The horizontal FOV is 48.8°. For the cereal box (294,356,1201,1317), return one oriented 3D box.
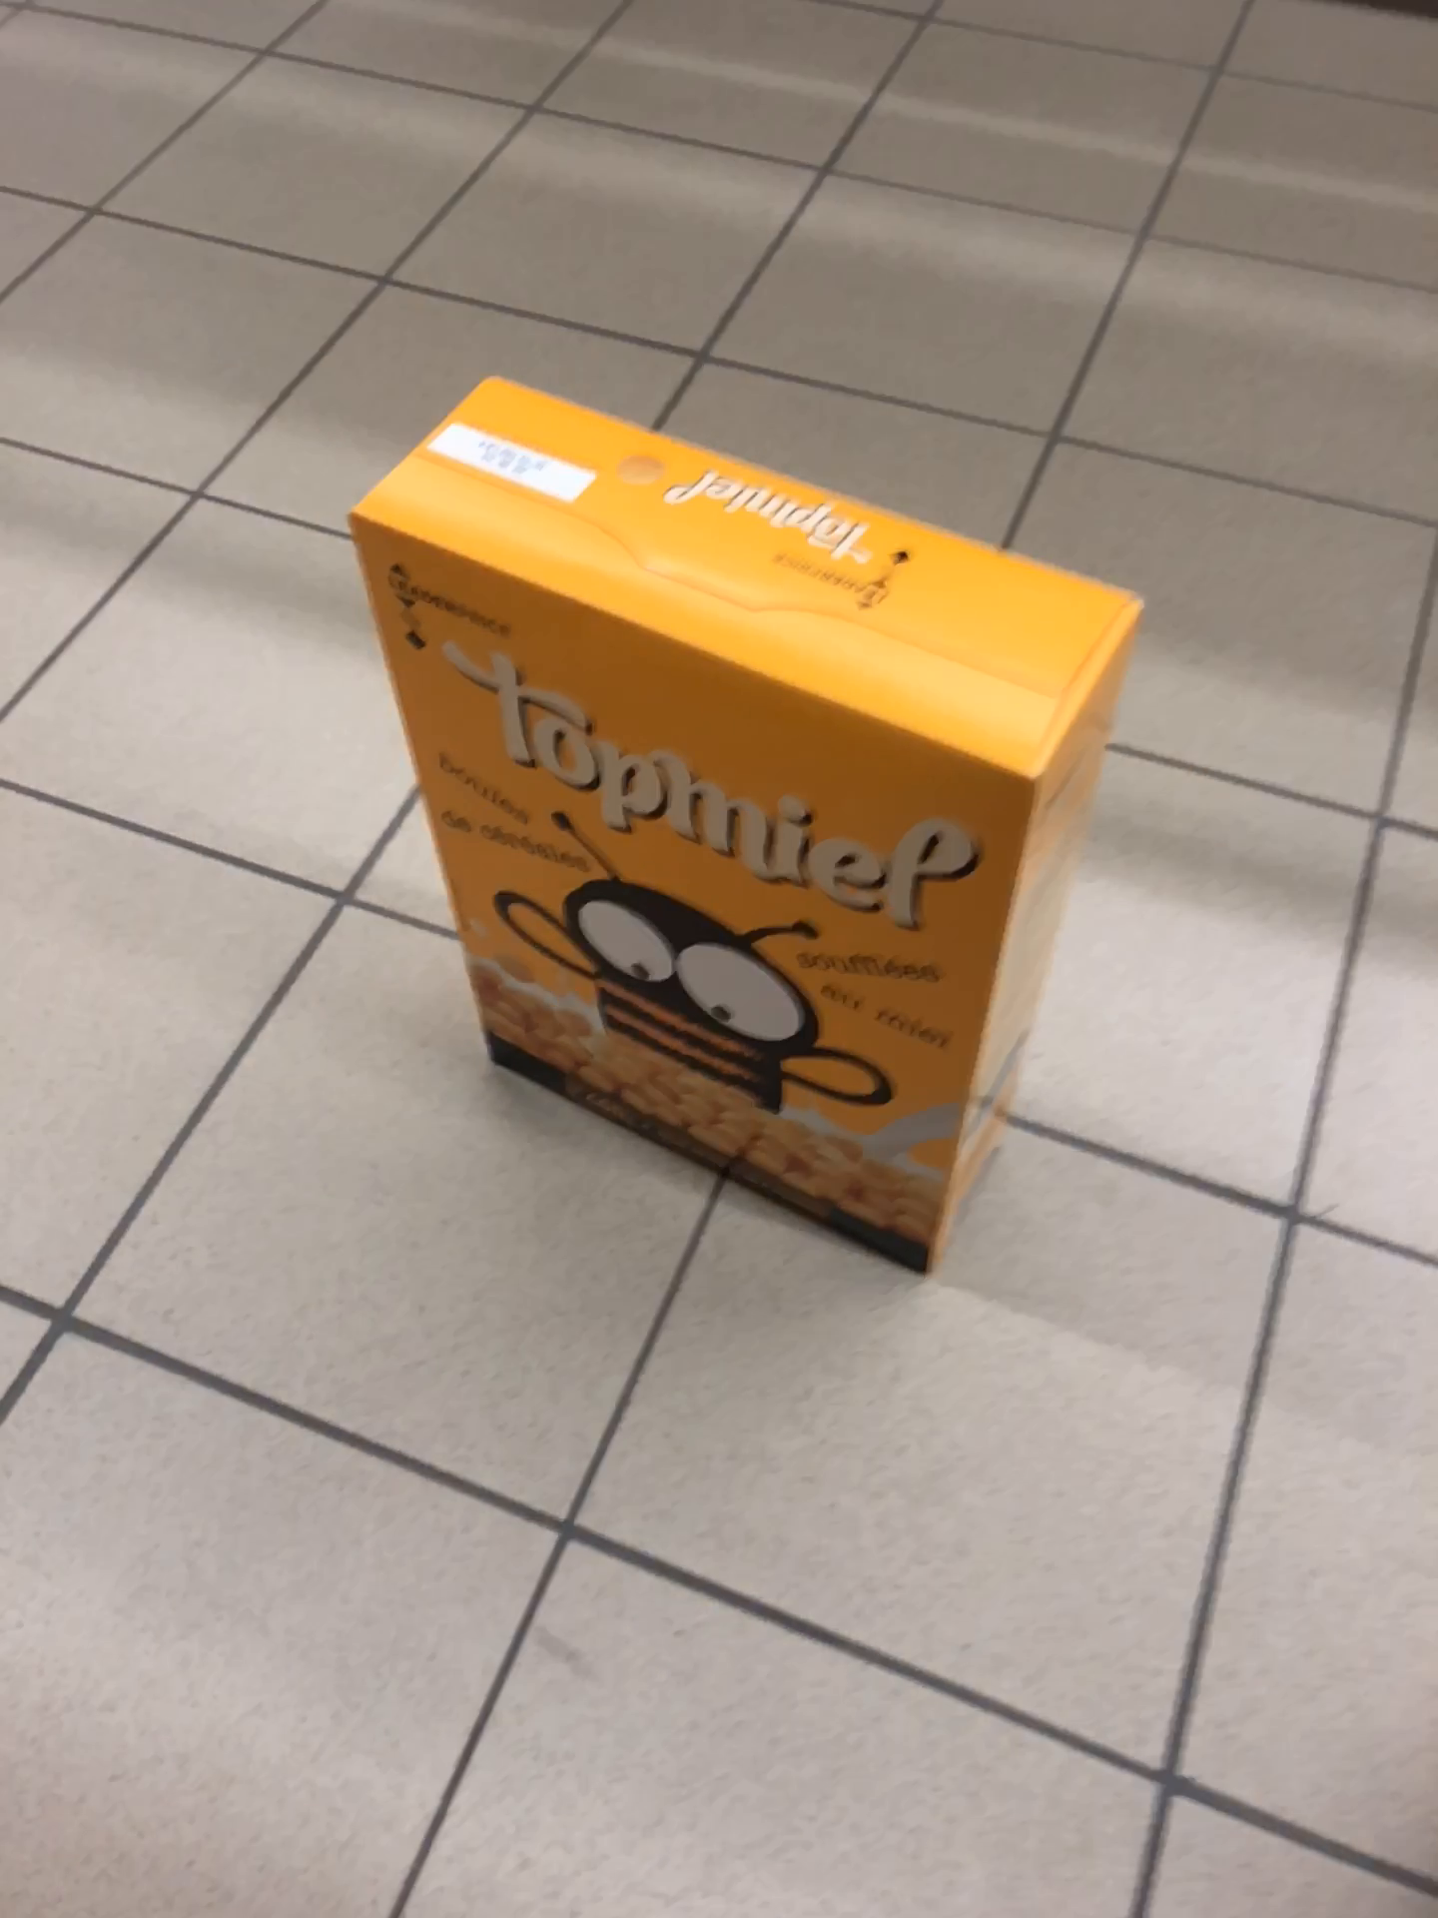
[{"bbox_3d":[0.004,-0.018,0.481,0.210,0.269,0.060,24,58,17],"label":"cereal box"}]
